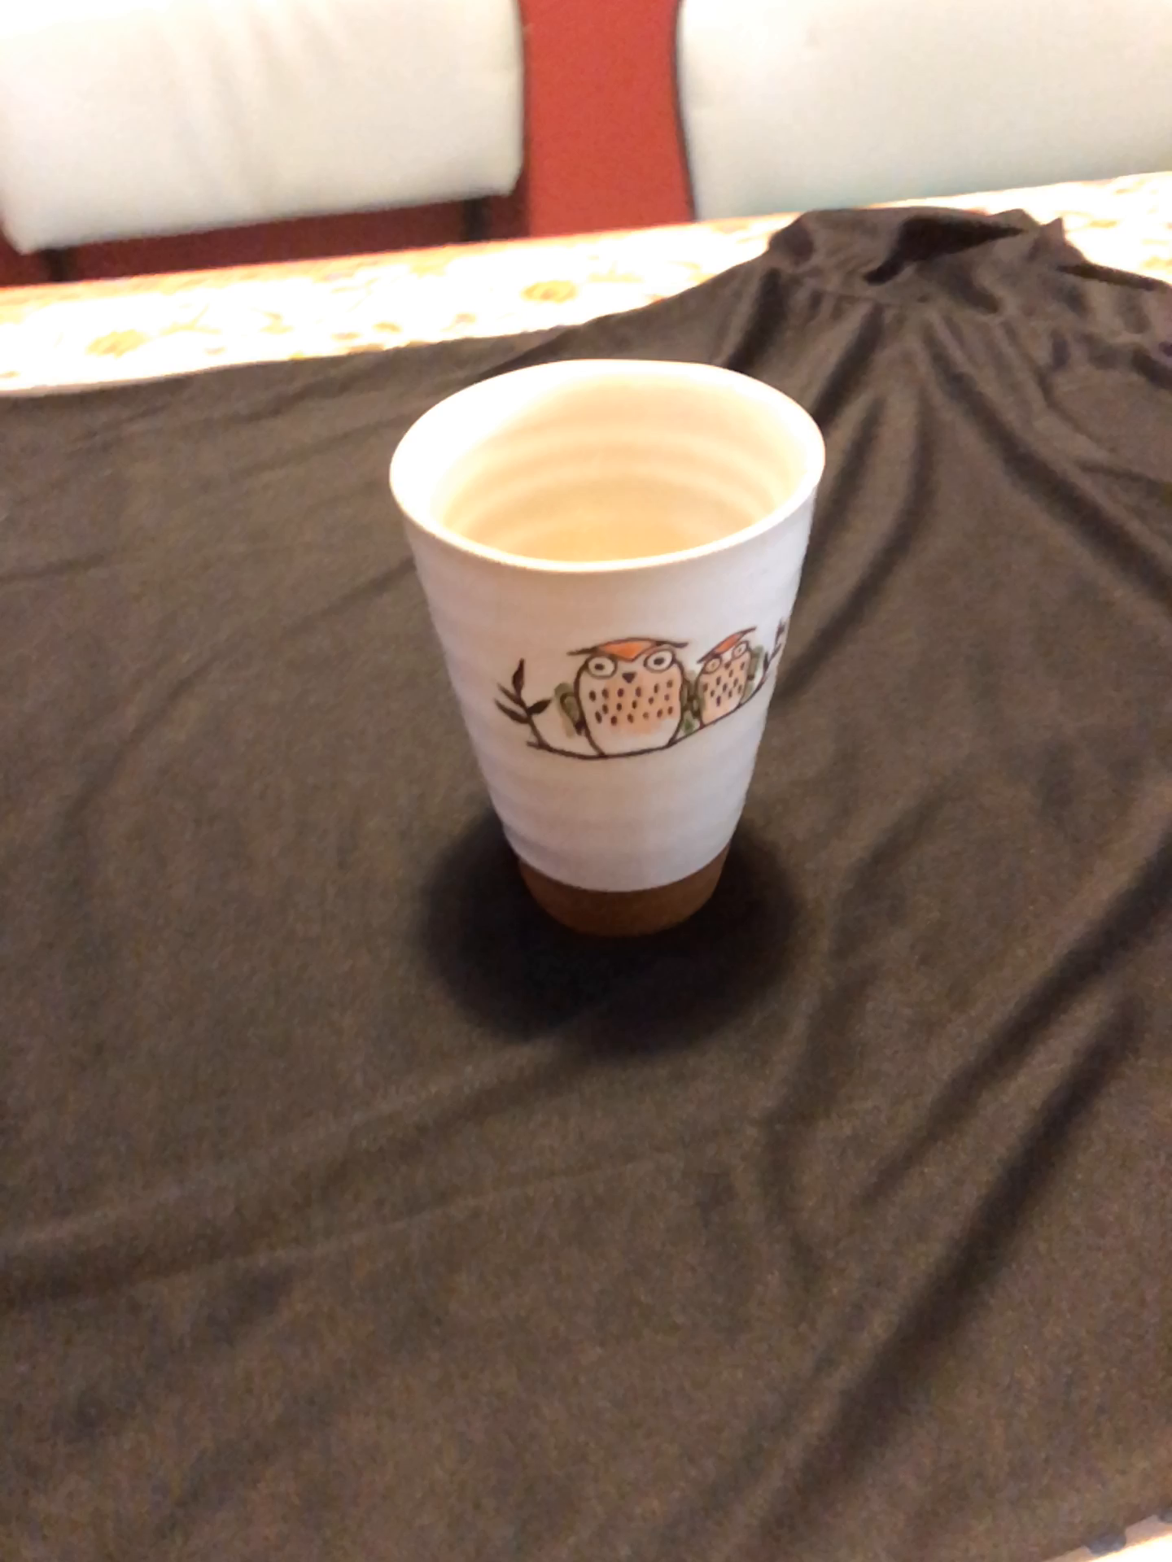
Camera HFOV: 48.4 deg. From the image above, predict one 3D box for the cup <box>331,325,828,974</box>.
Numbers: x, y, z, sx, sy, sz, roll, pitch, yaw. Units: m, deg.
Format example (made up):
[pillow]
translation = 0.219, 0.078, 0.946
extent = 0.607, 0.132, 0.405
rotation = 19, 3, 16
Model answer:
[cup]
translation = 0.006, -0.029, 0.274
extent = 0.080, 0.099, 0.091
rotation = 2, 41, 7
